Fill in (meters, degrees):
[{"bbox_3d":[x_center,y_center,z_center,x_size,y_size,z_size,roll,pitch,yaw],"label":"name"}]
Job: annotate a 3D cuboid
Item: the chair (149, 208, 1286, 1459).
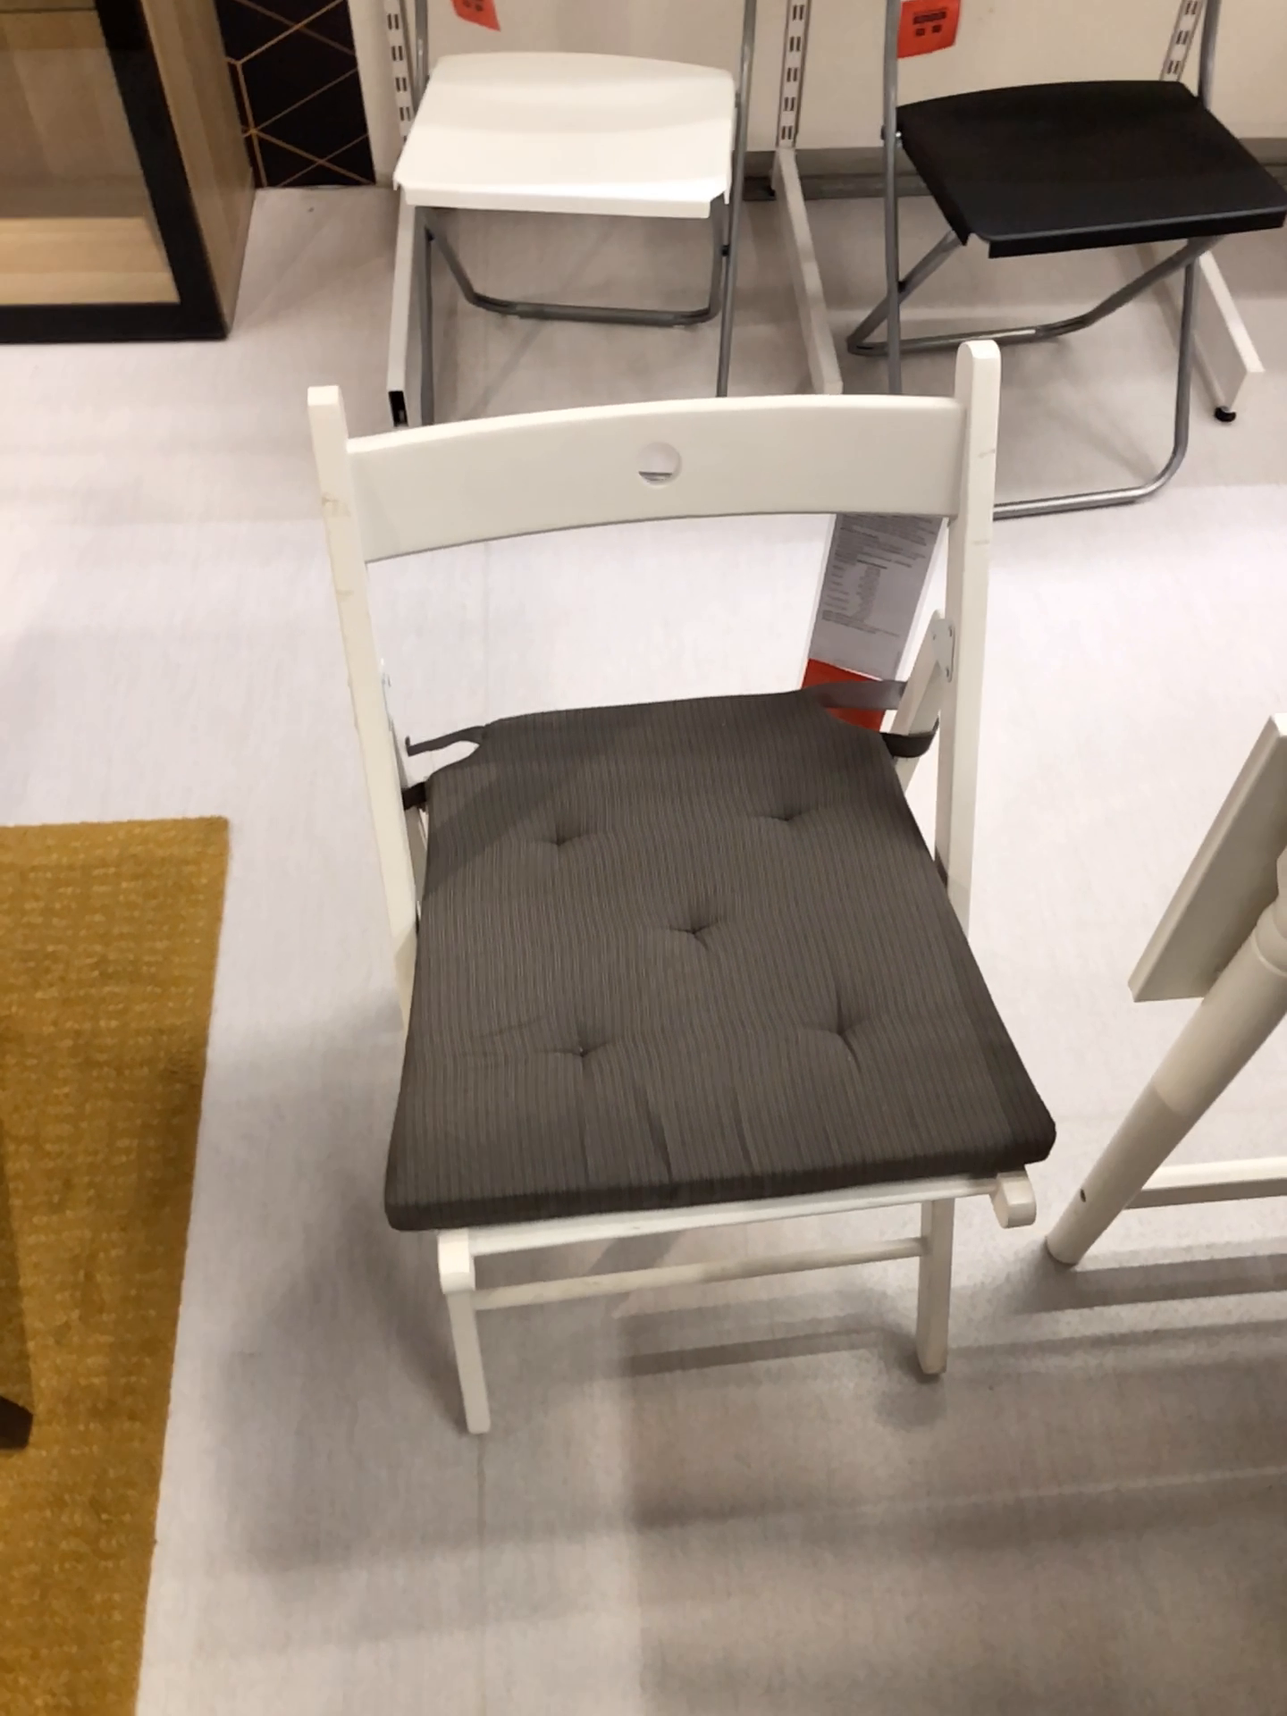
[{"bbox_3d":[0.021,0.047,0.914,0.440,0.696,0.452,-5,56,-4],"label":"chair"}]
